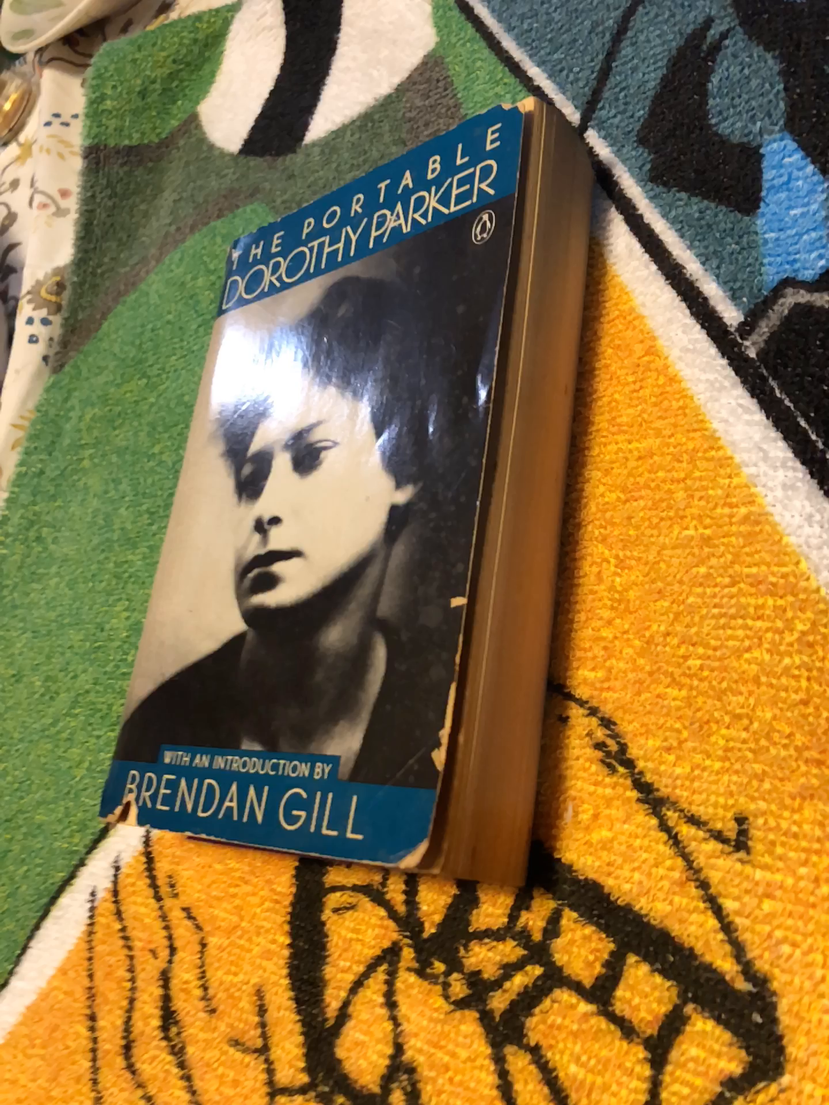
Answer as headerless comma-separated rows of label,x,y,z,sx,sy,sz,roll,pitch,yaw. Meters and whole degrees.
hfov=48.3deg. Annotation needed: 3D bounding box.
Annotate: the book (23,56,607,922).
book,-0.027,-0.016,0.256,0.141,0.040,0.200,-6,67,38
